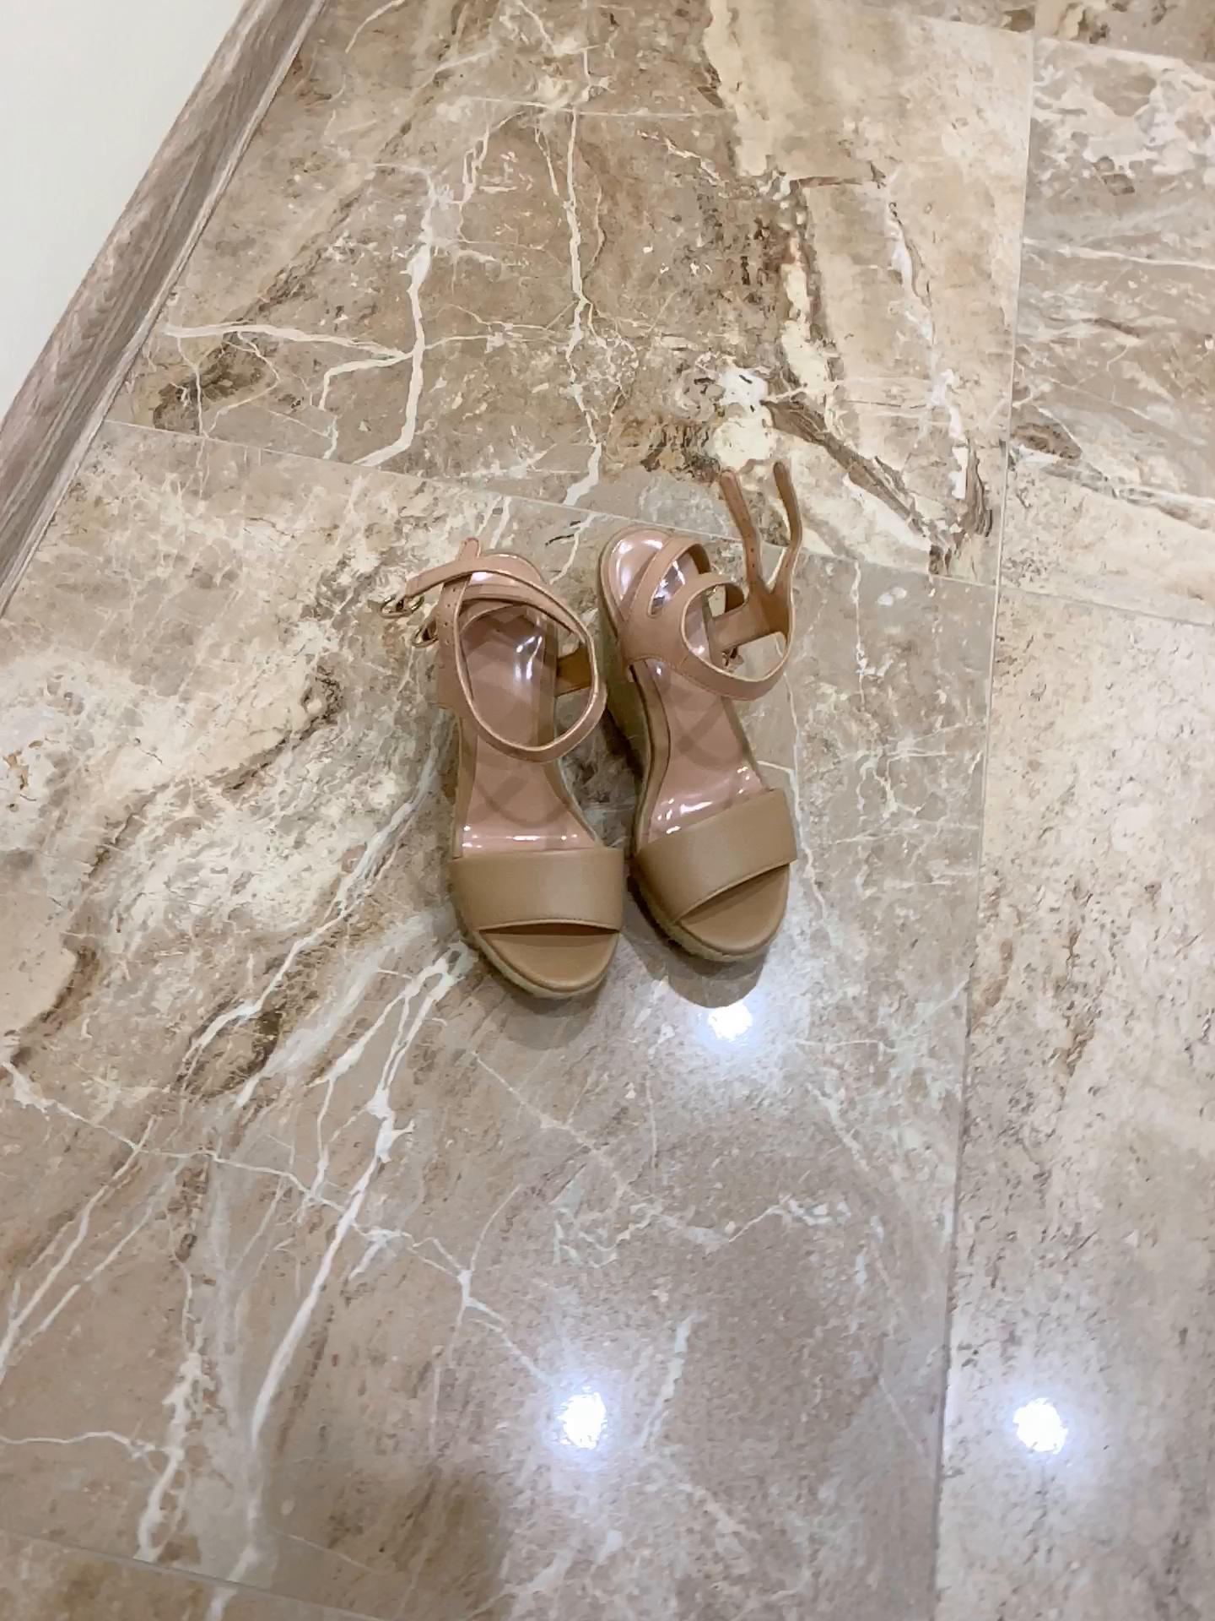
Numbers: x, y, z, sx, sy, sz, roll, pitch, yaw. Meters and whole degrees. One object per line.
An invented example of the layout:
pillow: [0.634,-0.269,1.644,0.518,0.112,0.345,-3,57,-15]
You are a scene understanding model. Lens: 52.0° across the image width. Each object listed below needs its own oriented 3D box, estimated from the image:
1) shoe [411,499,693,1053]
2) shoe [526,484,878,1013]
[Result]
shoe: [-0.032,-0.013,0.598,0.090,0.150,0.210,-7,63,-7]
shoe: [0.034,-0.030,0.618,0.090,0.130,0.210,-16,64,-11]
